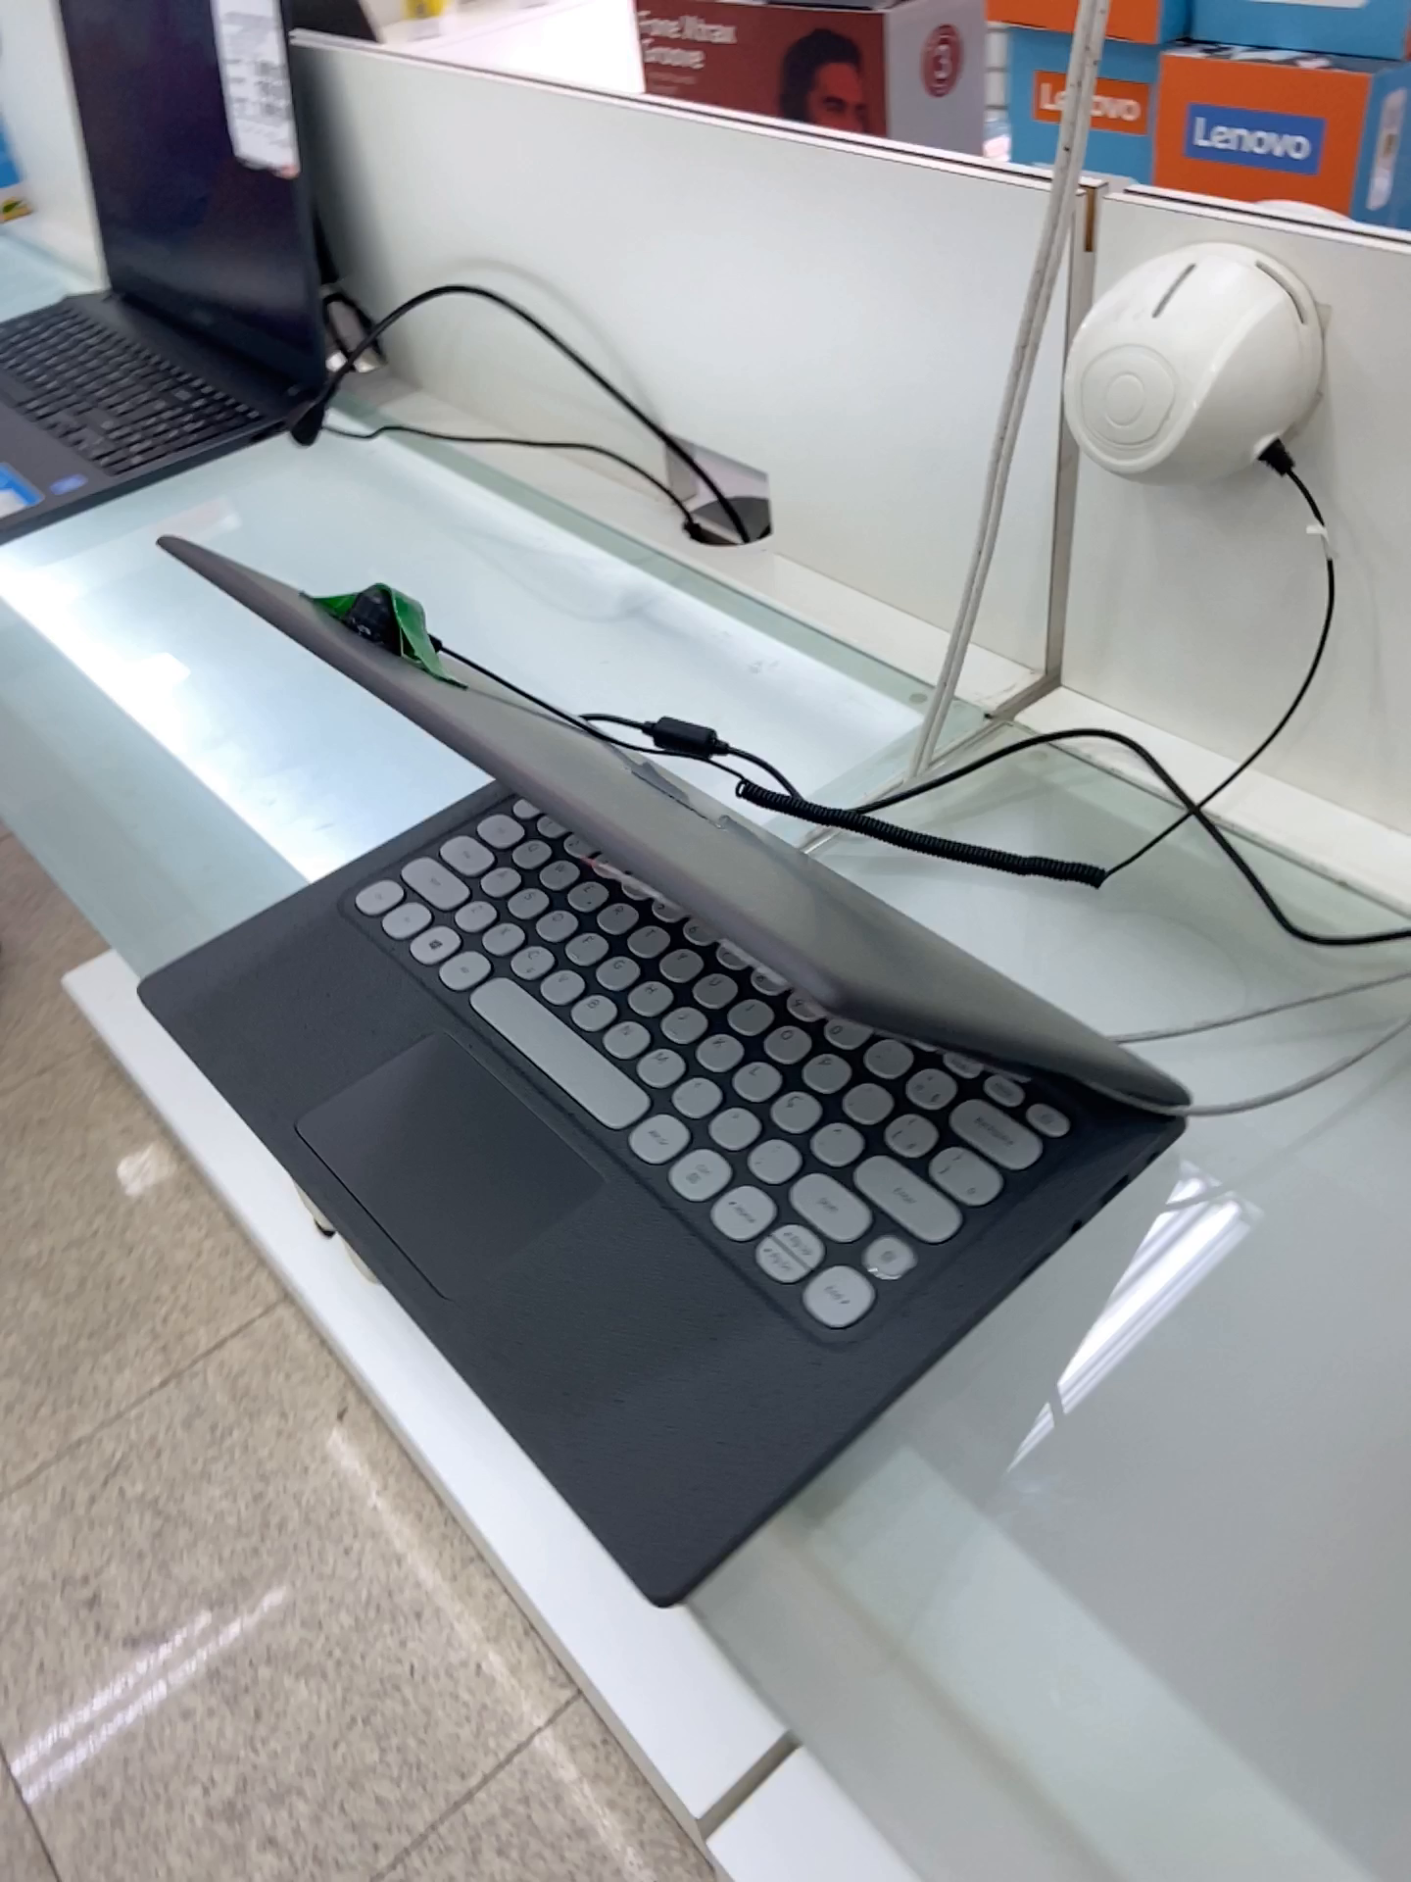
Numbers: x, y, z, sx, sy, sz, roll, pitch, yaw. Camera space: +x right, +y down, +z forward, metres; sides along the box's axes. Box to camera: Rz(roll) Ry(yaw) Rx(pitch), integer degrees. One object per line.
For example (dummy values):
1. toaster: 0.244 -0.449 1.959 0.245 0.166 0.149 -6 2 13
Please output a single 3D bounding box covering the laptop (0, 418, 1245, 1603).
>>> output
1. laptop: -0.041 -0.015 0.449 0.208 0.153 0.312 -34 47 -25
